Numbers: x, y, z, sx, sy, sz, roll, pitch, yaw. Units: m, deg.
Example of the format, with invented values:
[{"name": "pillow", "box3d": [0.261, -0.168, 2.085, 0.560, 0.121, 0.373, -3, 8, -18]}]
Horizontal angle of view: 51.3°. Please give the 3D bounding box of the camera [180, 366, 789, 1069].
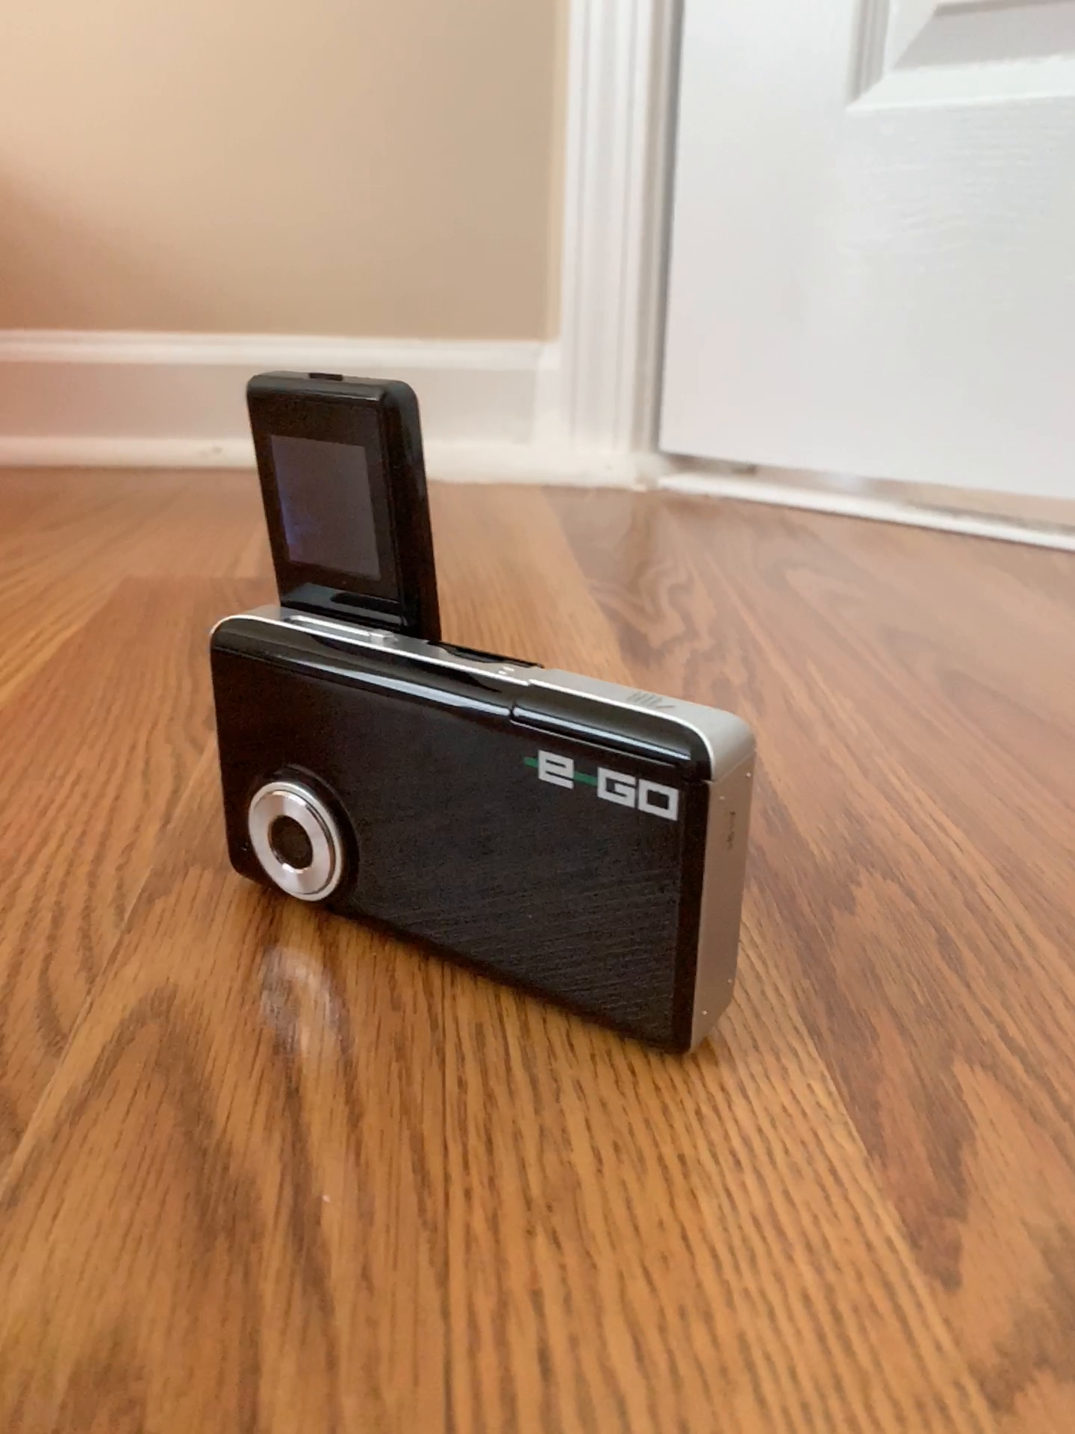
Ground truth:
[{"name": "camera", "box3d": [-0.017, -0.006, 0.217, 0.119, 0.111, 0.022, 15, 24, 31]}]
